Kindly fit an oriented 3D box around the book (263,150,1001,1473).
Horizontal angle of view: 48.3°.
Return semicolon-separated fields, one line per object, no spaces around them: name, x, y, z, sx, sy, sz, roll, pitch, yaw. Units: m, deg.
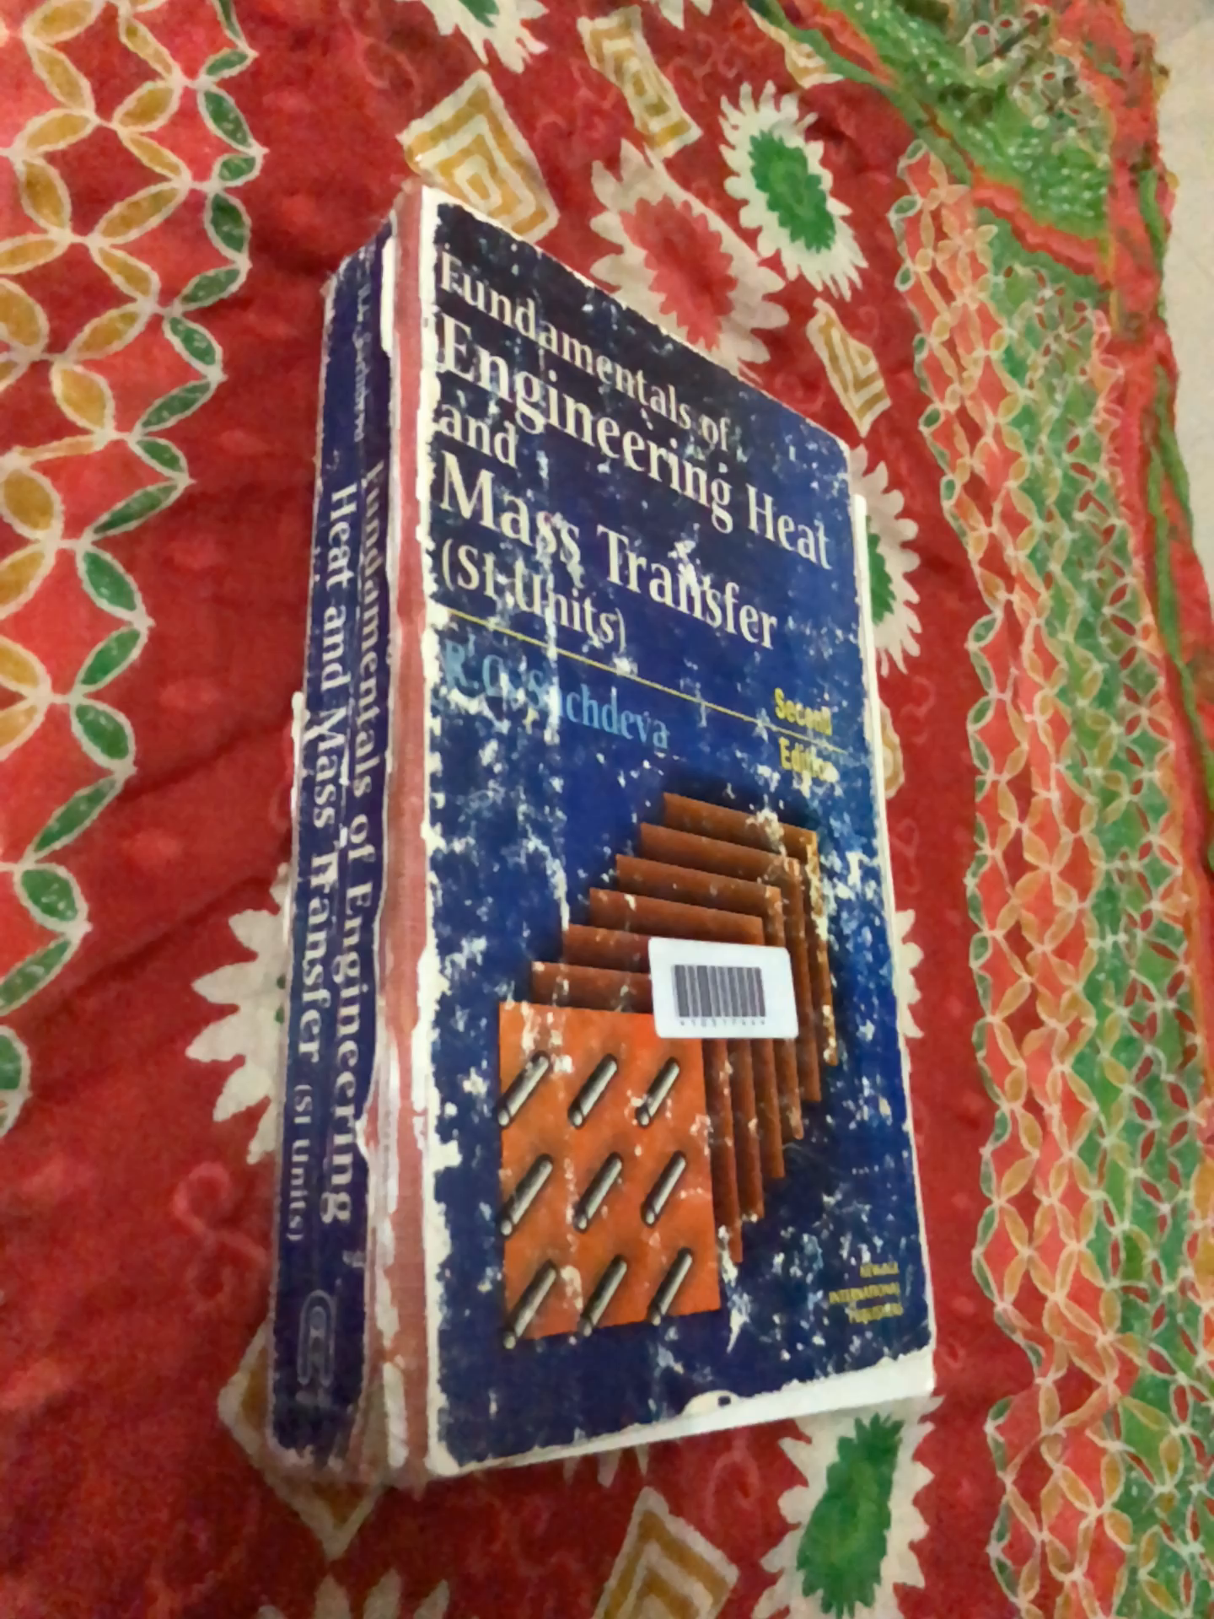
book;0.013;0.004;0.273;0.151;0.043;0.209;13;71;-43
